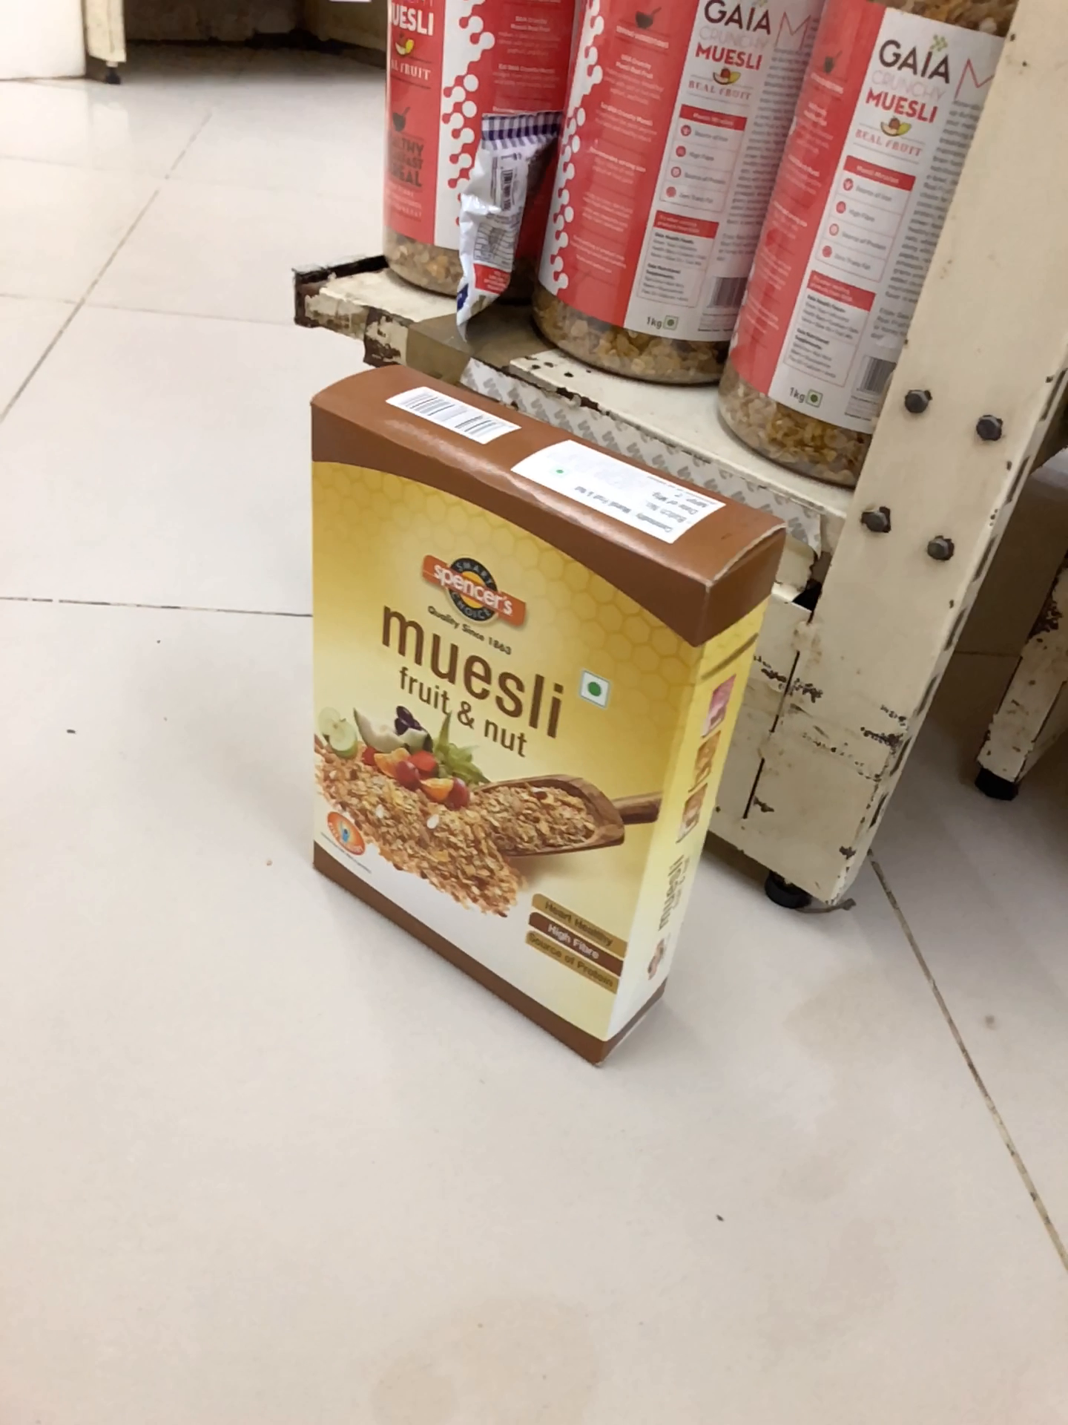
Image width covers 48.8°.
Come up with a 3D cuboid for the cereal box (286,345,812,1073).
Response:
[{"bbox_3d":[-0.014,0.000,0.487,0.190,0.238,0.060,29,39,26],"label":"cereal box"}]
